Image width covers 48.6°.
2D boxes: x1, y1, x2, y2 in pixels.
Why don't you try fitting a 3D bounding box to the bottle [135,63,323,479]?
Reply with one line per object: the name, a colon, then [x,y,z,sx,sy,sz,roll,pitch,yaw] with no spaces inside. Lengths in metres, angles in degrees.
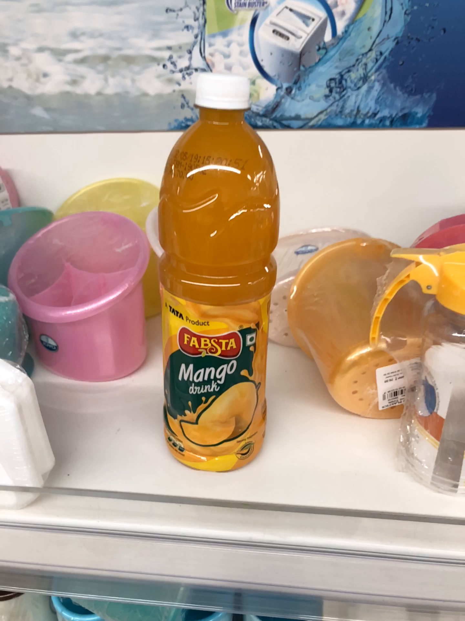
bottle: [-0.007,-0.016,0.343,0.090,0.258,0.081,4,29,1]
